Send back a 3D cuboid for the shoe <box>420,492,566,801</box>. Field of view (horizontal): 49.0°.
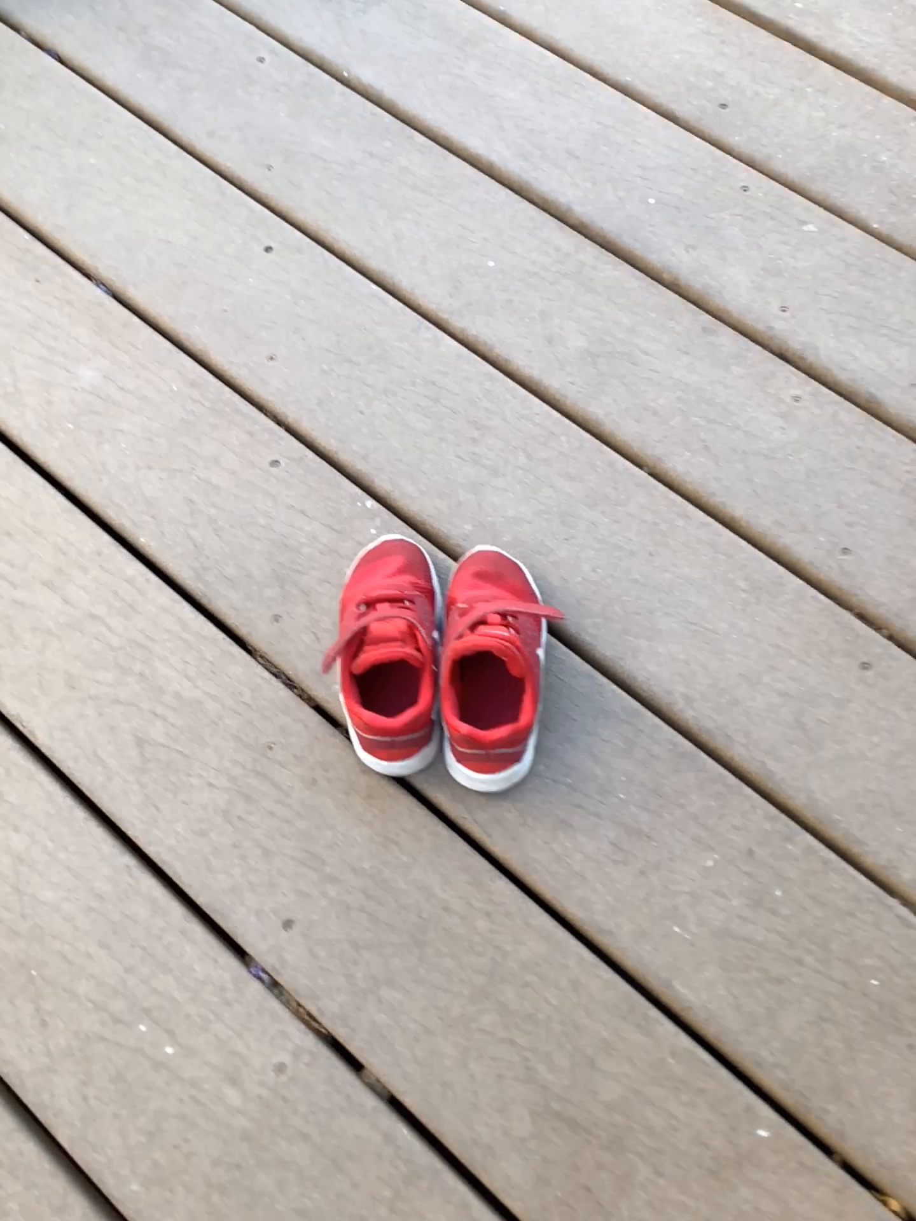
[{"bbox_3d":[0.023,0.023,0.618,0.077,0.087,0.167,3,68,2],"label":"shoe"}]

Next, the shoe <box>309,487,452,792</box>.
[{"bbox_3d":[-0.047,0.019,0.629,0.077,0.087,0.167,-3,67,0],"label":"shoe"}]
